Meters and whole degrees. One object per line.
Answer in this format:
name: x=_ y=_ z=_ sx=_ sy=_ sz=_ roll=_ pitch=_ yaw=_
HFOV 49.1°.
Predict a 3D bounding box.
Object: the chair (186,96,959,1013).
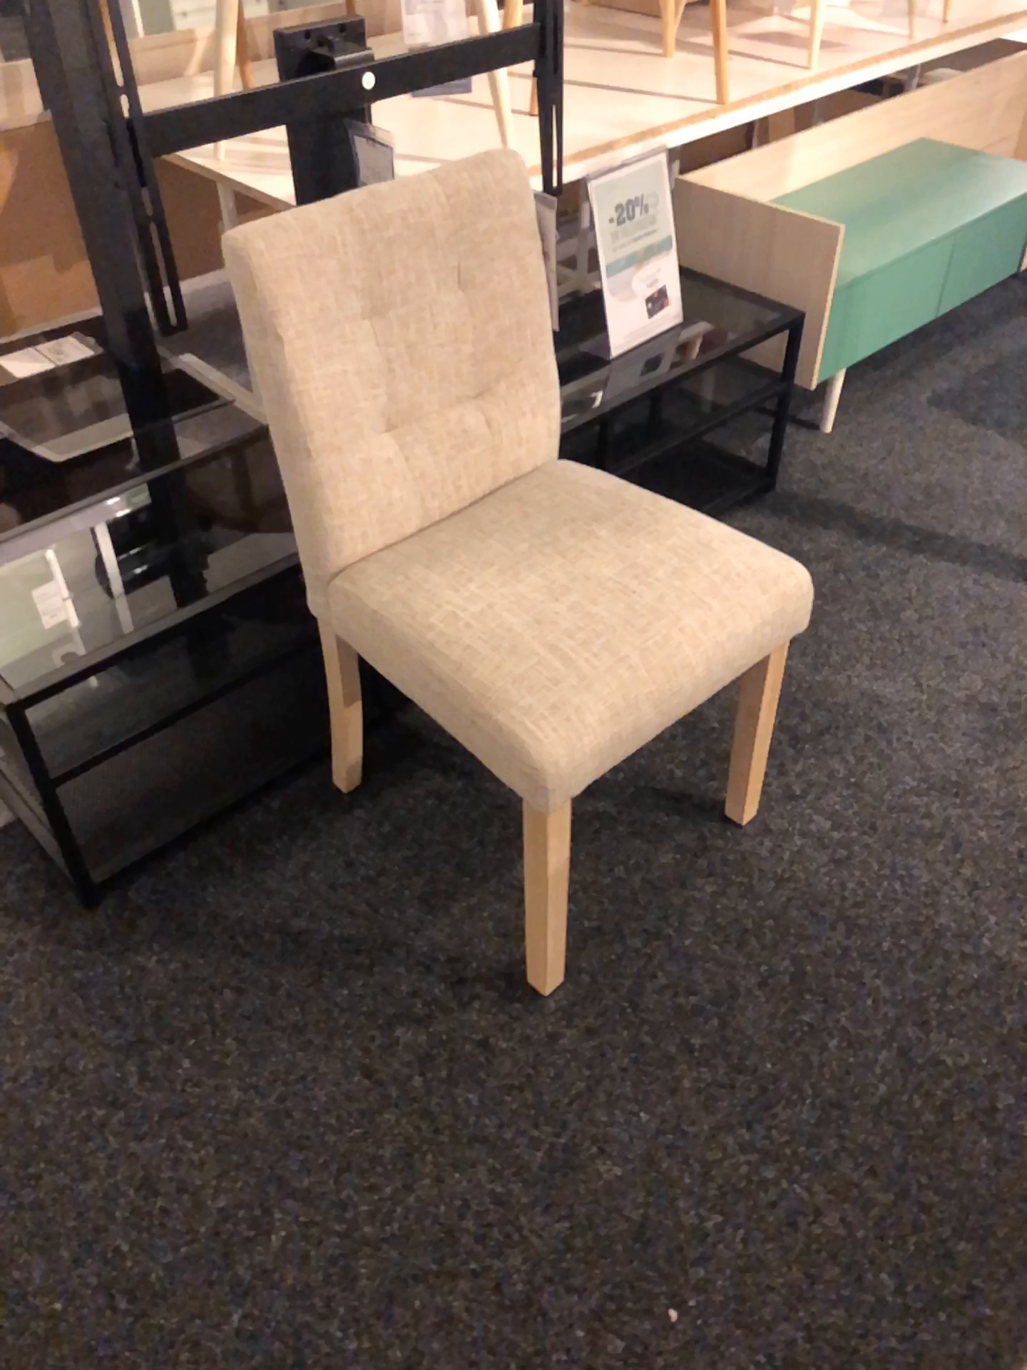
chair: x=0.058 y=-0.172 z=1.423 sx=0.553 sy=0.855 sz=0.560 roll=-33 pitch=51 yaw=-32
